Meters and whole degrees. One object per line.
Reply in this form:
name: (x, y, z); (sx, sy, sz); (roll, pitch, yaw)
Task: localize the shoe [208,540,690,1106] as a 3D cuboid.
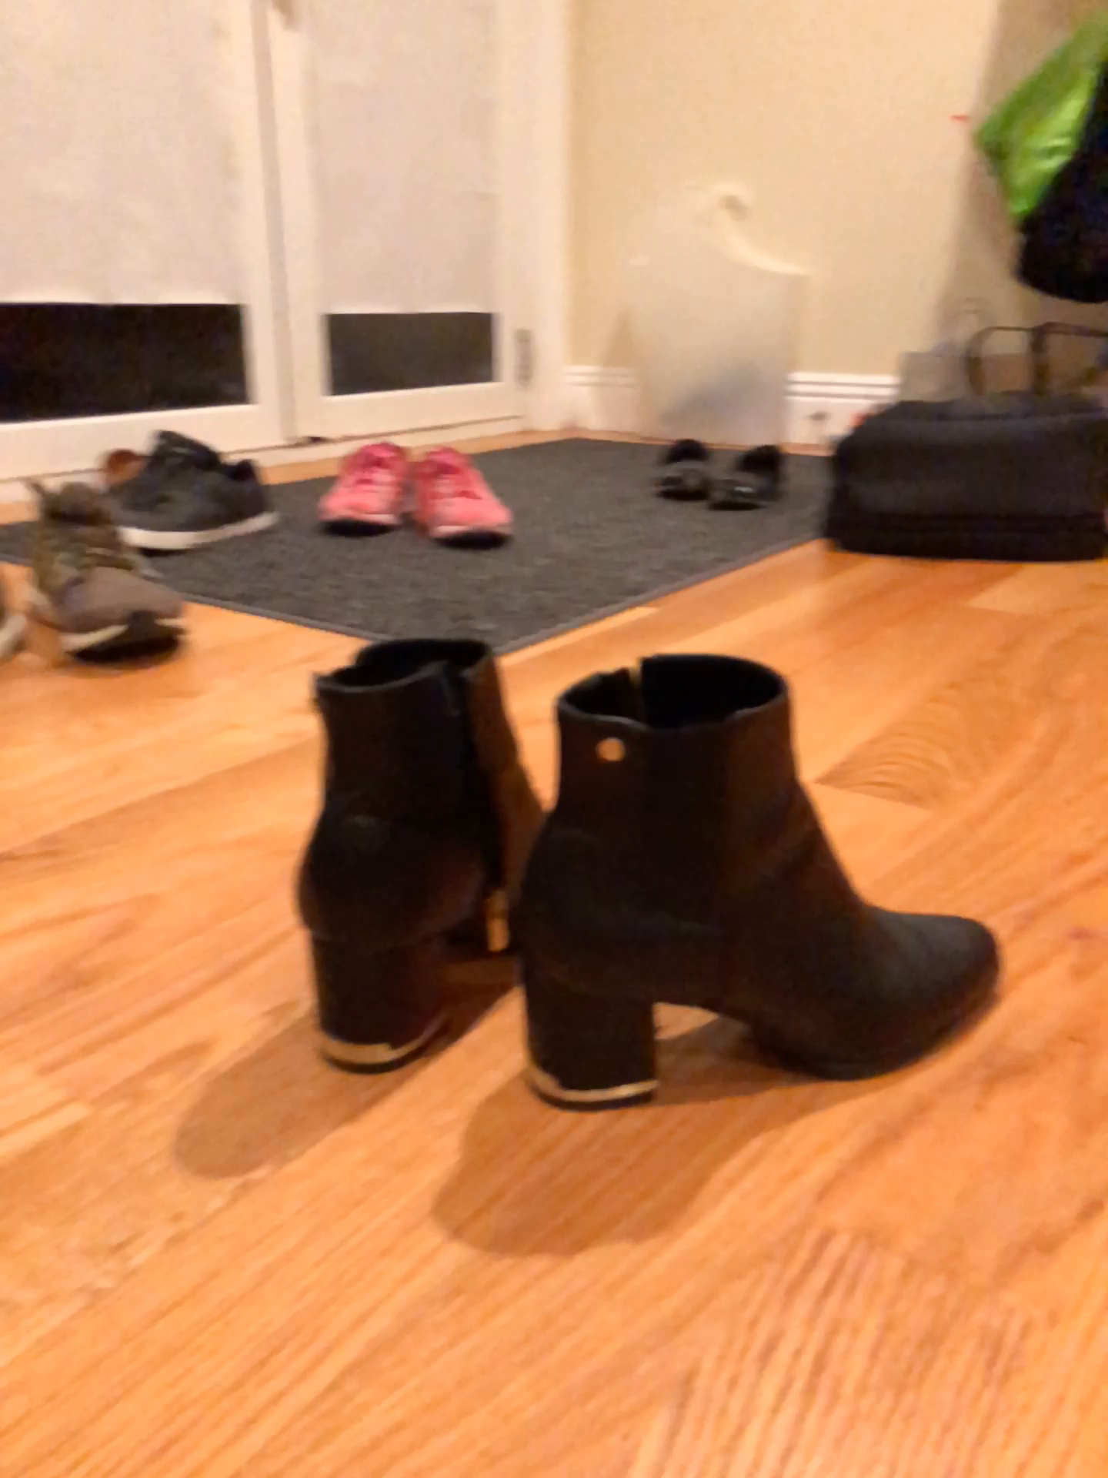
shoe: (-0.031, 0.017, 0.560); (0.095, 0.175, 0.237); (10, 22, 28)

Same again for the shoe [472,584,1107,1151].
shoe: (0.095, 0.041, 0.492); (0.236, 0.175, 0.095); (-6, 20, -17)
